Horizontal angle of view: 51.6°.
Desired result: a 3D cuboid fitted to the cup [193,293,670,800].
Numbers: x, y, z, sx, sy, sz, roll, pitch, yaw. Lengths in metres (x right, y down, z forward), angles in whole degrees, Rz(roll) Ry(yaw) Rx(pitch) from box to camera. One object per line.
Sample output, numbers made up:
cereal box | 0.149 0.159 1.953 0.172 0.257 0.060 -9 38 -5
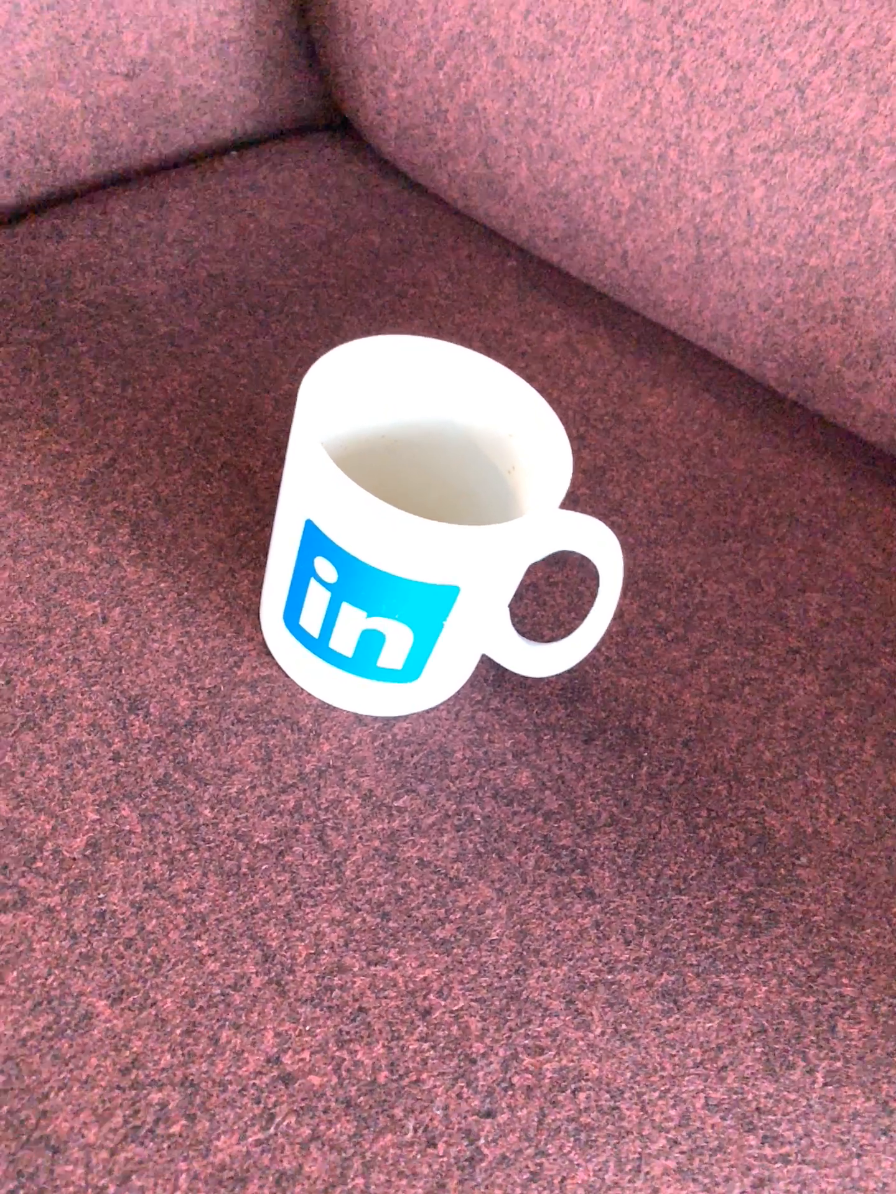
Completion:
cup | -0.008 -0.014 0.272 0.104 0.089 0.075 25 48 6
